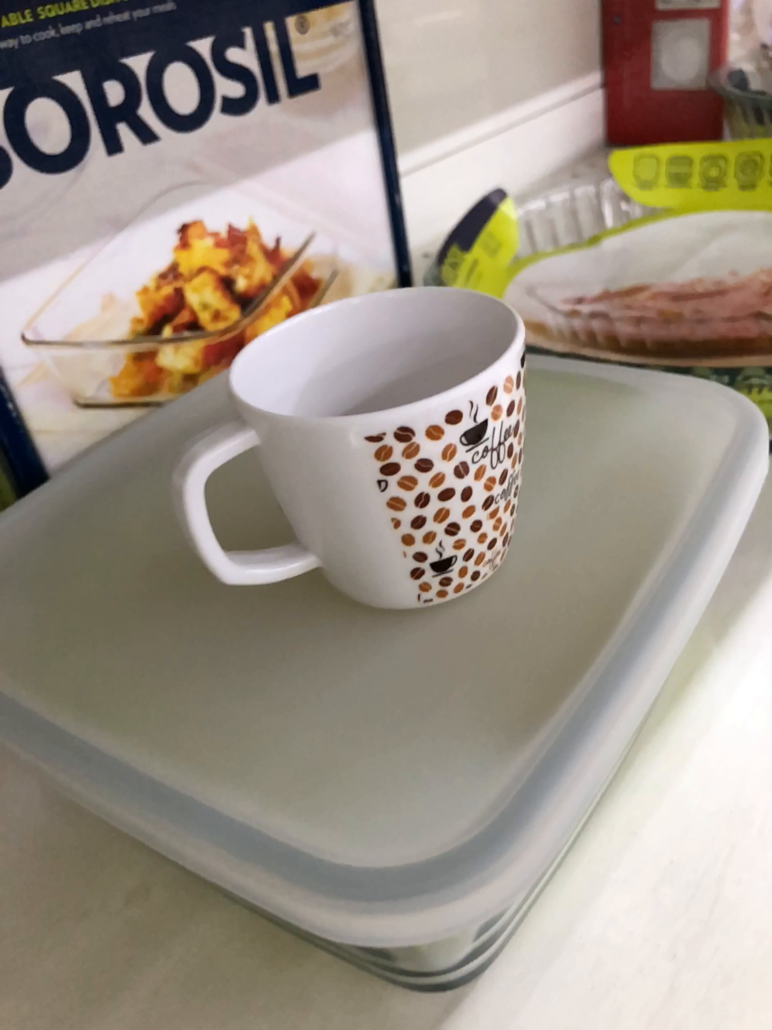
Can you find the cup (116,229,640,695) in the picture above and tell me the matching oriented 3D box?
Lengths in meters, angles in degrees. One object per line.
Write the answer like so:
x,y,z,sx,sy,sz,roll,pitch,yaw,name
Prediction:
0.000,-0.017,0.177,0.080,0.050,0.060,-26,36,-22,cup
